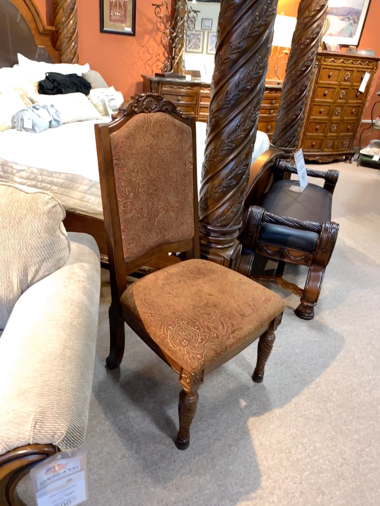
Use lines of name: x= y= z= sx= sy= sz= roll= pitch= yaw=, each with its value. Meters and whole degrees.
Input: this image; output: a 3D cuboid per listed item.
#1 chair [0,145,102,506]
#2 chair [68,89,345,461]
chair: x=-0.754 y=0.262 z=1.126 sx=0.880 sy=0.864 sz=0.902 roll=1 pitch=30 yaw=-8
chair: x=0.004 y=0.035 z=1.474 sx=0.639 sy=1.123 sz=0.591 roll=30 pitch=37 yaw=36
